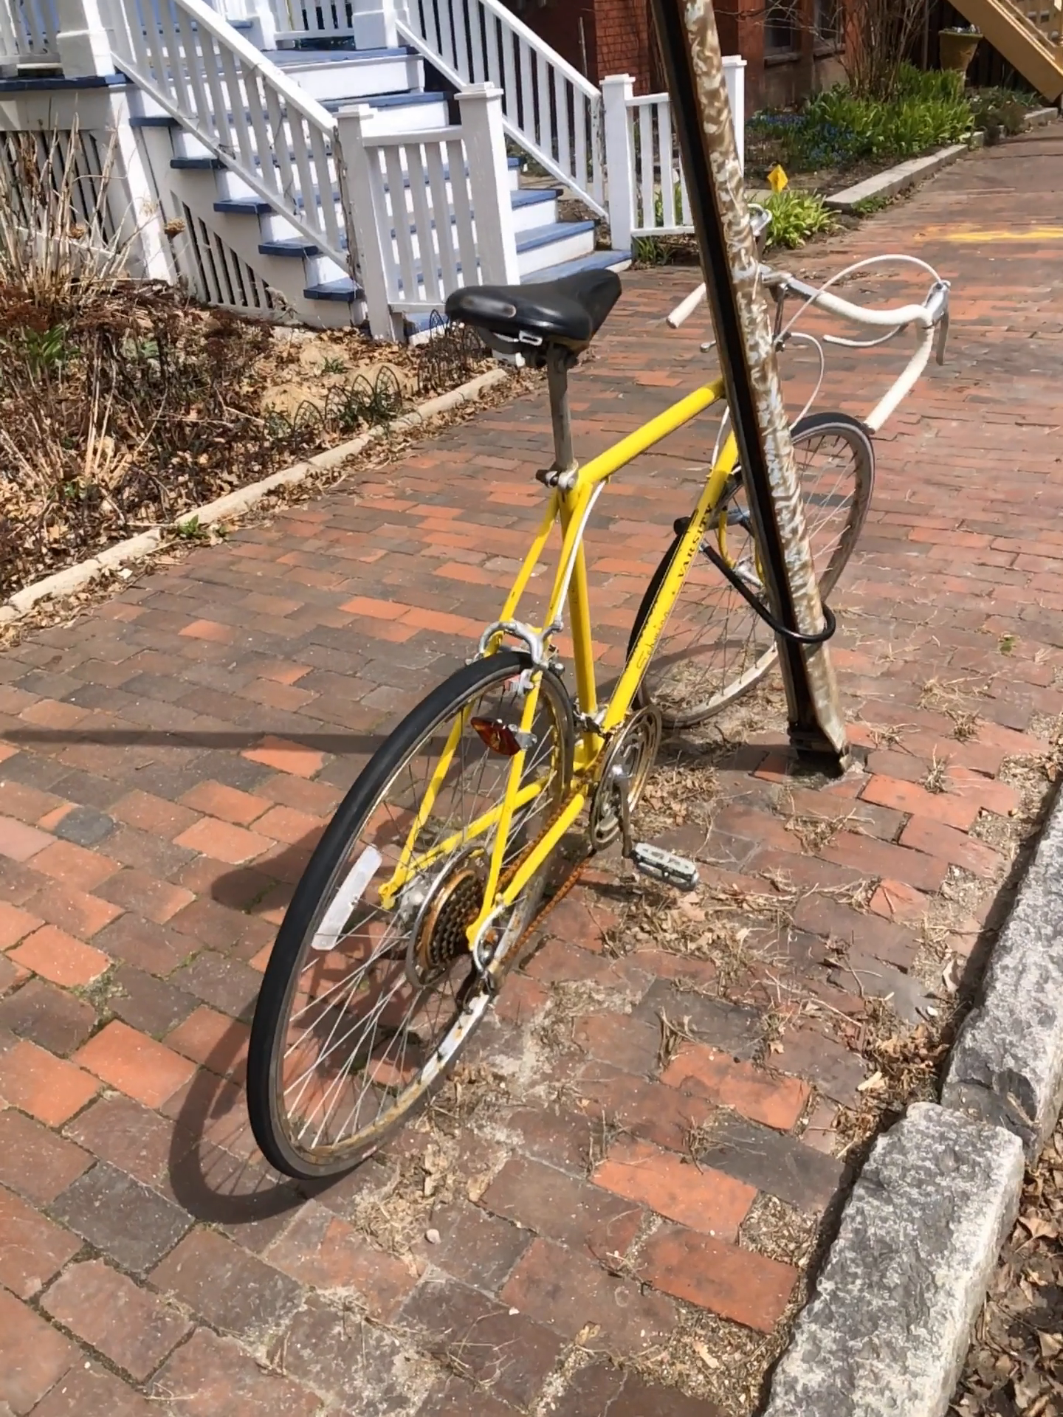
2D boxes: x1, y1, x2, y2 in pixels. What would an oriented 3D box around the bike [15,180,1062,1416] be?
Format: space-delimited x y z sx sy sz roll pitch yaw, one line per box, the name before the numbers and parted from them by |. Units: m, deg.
bike | 0.262 -0.100 1.687 0.523 0.854 1.712 14 39 33
